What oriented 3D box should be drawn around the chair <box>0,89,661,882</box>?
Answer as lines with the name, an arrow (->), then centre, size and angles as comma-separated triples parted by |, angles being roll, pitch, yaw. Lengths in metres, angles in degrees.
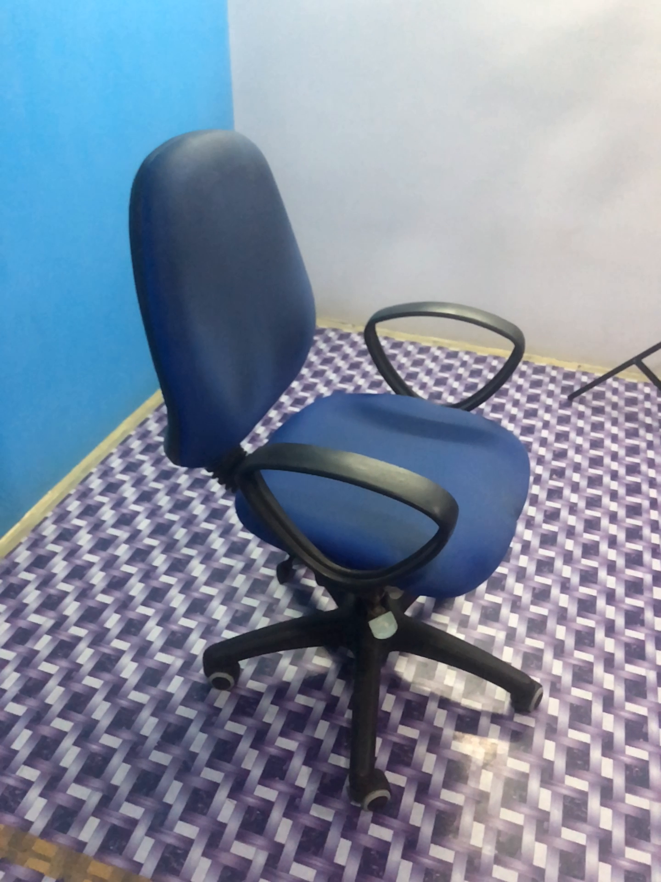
chair -> 0.099, 0.010, 1.171 | 0.690, 0.915, 0.704 | 14, 35, 19
